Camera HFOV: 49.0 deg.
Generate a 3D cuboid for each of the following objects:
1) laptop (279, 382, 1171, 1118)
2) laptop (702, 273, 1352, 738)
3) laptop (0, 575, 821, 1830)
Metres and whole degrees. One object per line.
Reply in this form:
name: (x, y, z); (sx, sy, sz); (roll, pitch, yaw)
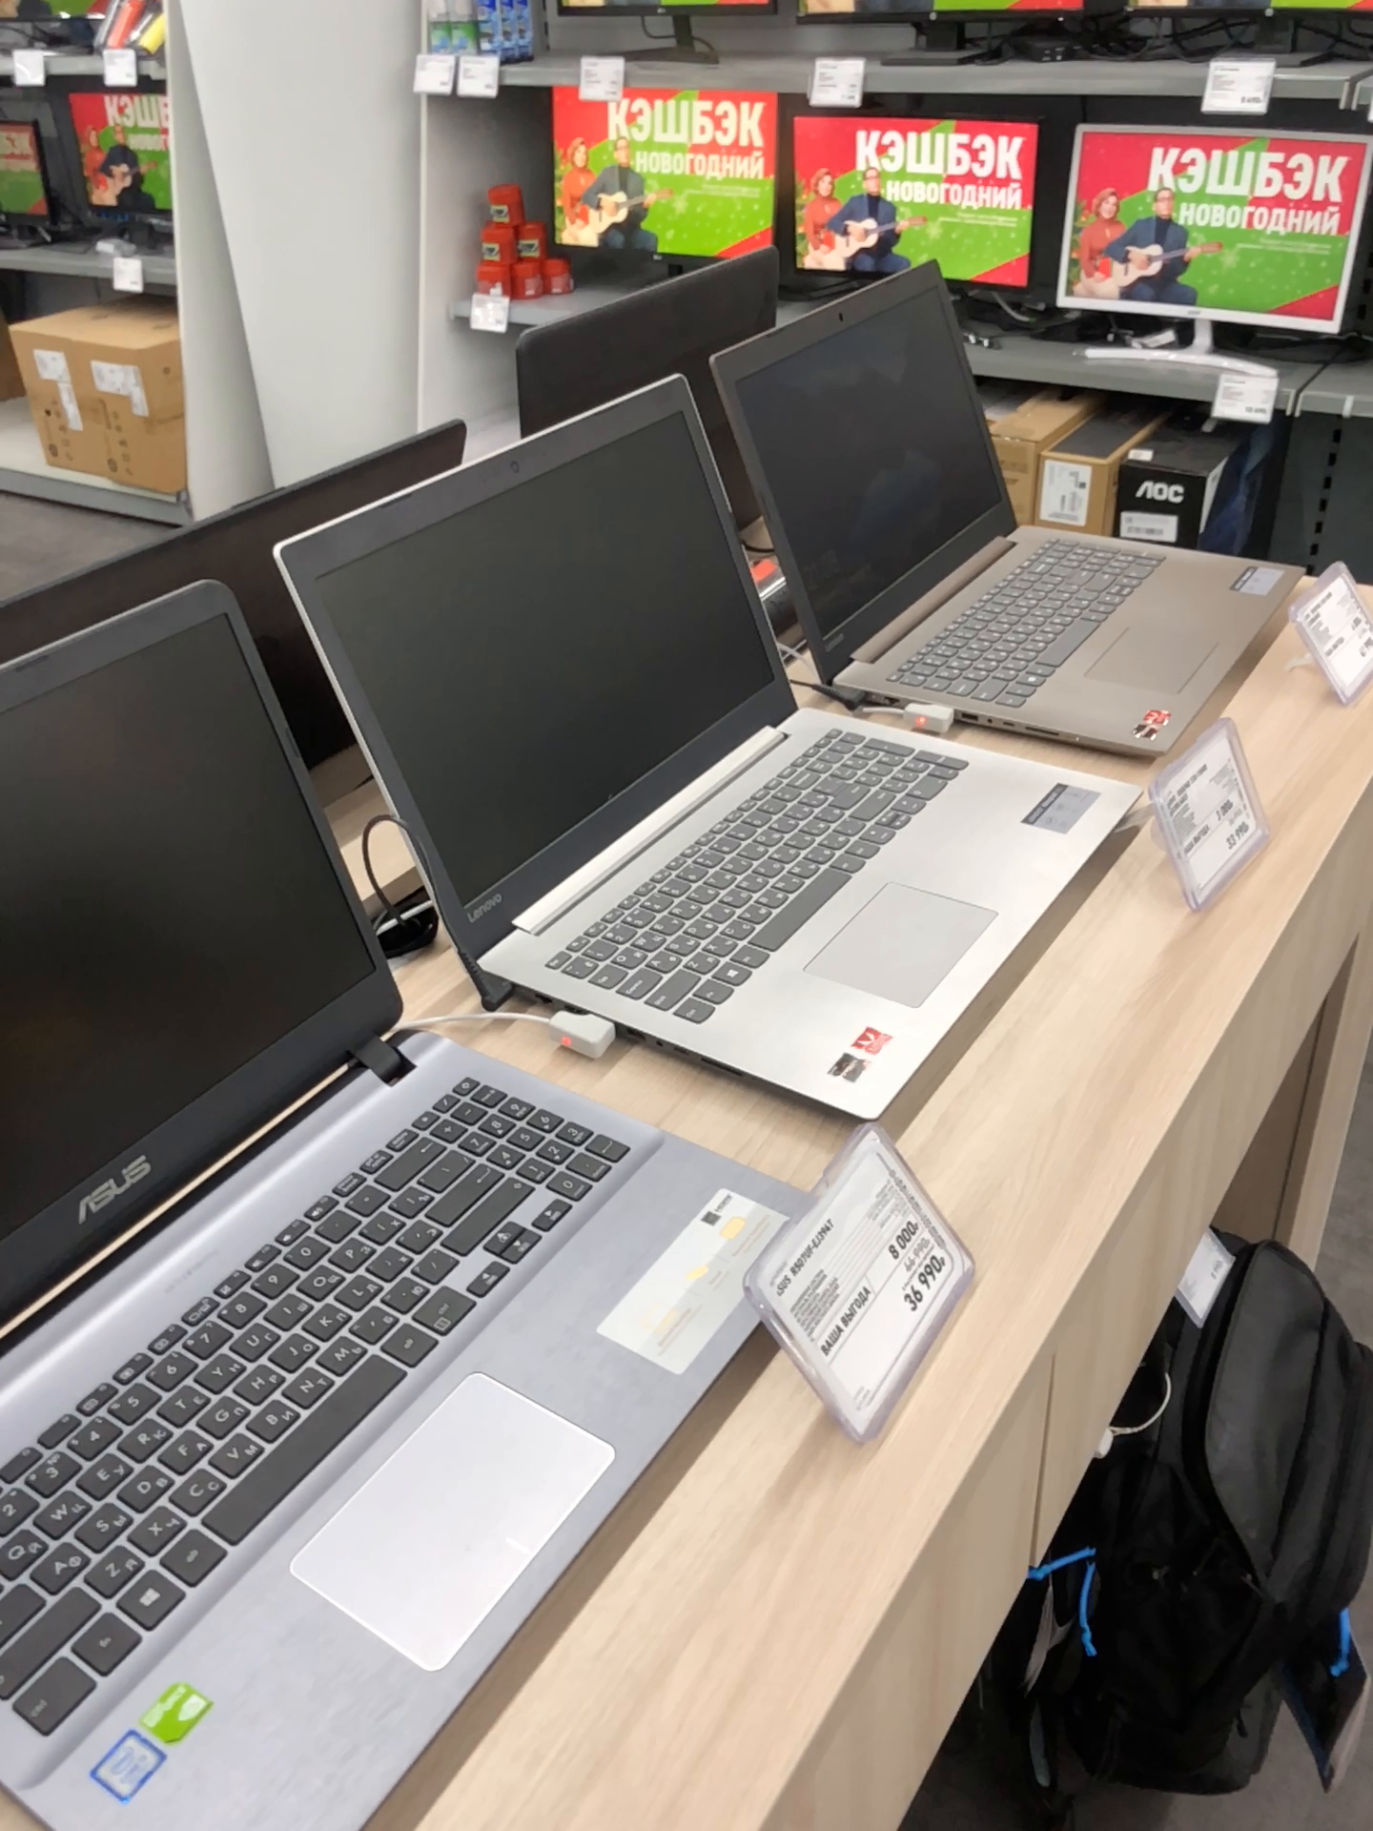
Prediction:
laptop: (0.040, -0.130, 0.861); (0.335, 0.220, 0.367); (18, 38, 28)
laptop: (0.264, -0.332, 1.149); (0.326, 0.222, 0.358); (16, 37, 26)
laptop: (-0.162, 0.065, 0.558); (0.319, 0.232, 0.328); (18, 38, 29)
